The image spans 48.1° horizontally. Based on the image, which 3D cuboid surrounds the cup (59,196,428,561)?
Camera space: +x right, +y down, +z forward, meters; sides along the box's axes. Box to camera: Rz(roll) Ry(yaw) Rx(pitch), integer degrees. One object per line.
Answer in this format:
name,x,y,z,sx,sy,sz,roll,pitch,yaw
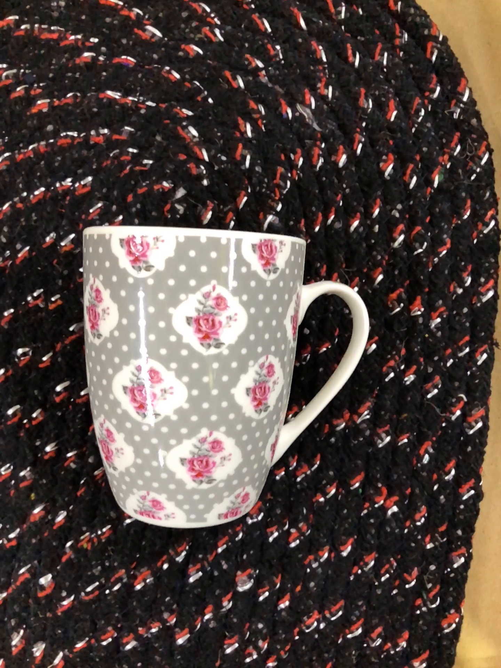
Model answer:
cup,-0.013,0.008,0.210,0.110,0.090,0.100,1,98,-19
